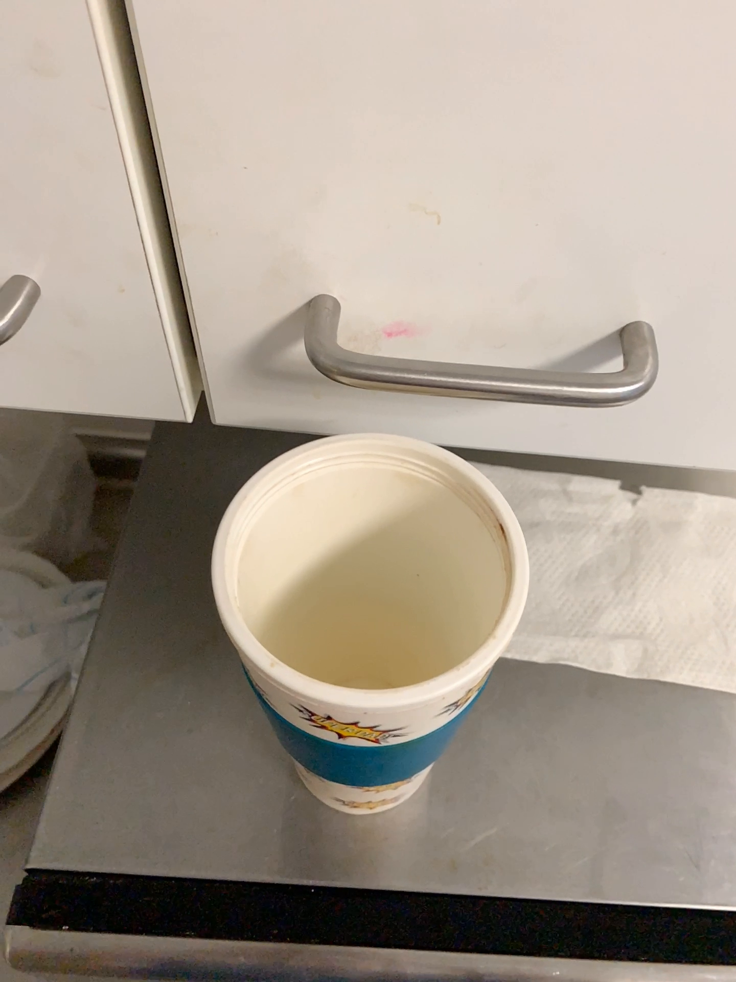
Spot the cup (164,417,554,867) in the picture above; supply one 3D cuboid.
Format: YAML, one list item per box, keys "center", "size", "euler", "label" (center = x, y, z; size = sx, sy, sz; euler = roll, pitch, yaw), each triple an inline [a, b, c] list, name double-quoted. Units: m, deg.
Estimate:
- center: [-0.002, 0.061, 0.268]
  size: [0.093, 0.146, 0.097]
  euler: [1, 52, -1]
  label: "cup"
